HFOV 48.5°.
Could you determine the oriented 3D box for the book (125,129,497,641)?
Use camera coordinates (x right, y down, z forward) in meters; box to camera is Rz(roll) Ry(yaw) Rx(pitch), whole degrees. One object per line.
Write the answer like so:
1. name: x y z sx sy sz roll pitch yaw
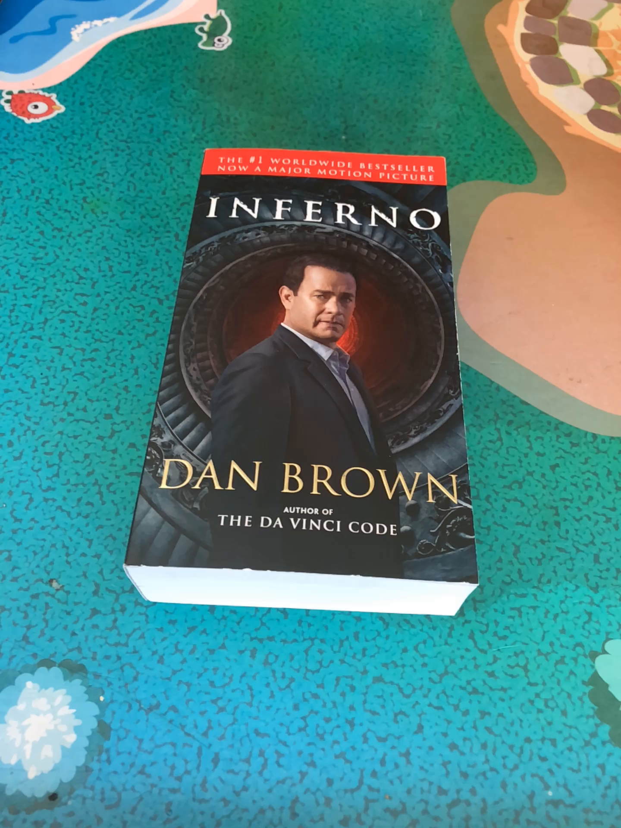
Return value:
1. book: 0.004 -0.021 0.280 0.110 0.060 0.201 4 59 -1
